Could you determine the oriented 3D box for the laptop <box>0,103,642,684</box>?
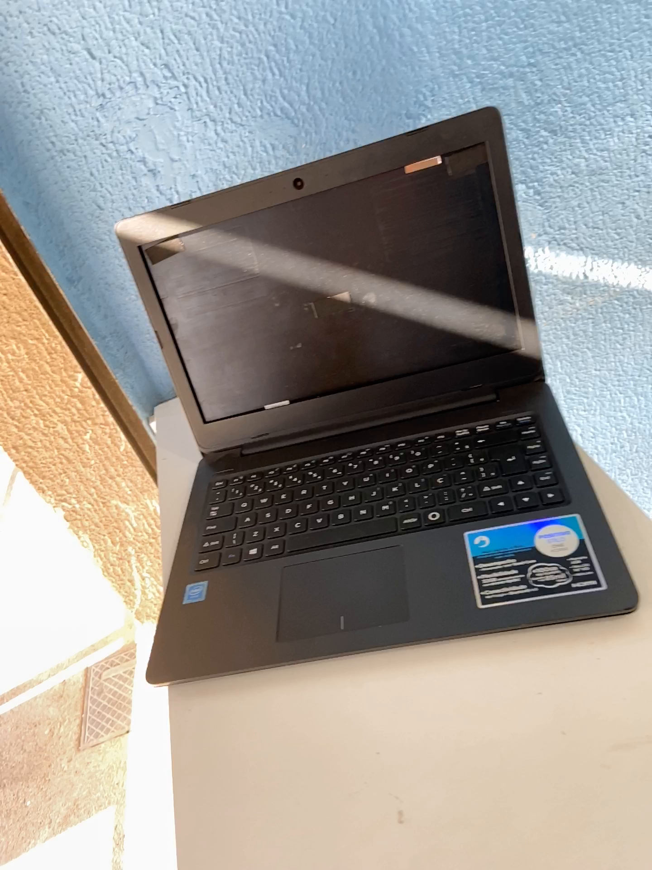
[{"bbox_3d":[0.004,-0.042,0.499,0.337,0.214,0.311,-13,38,11],"label":"laptop"}]
